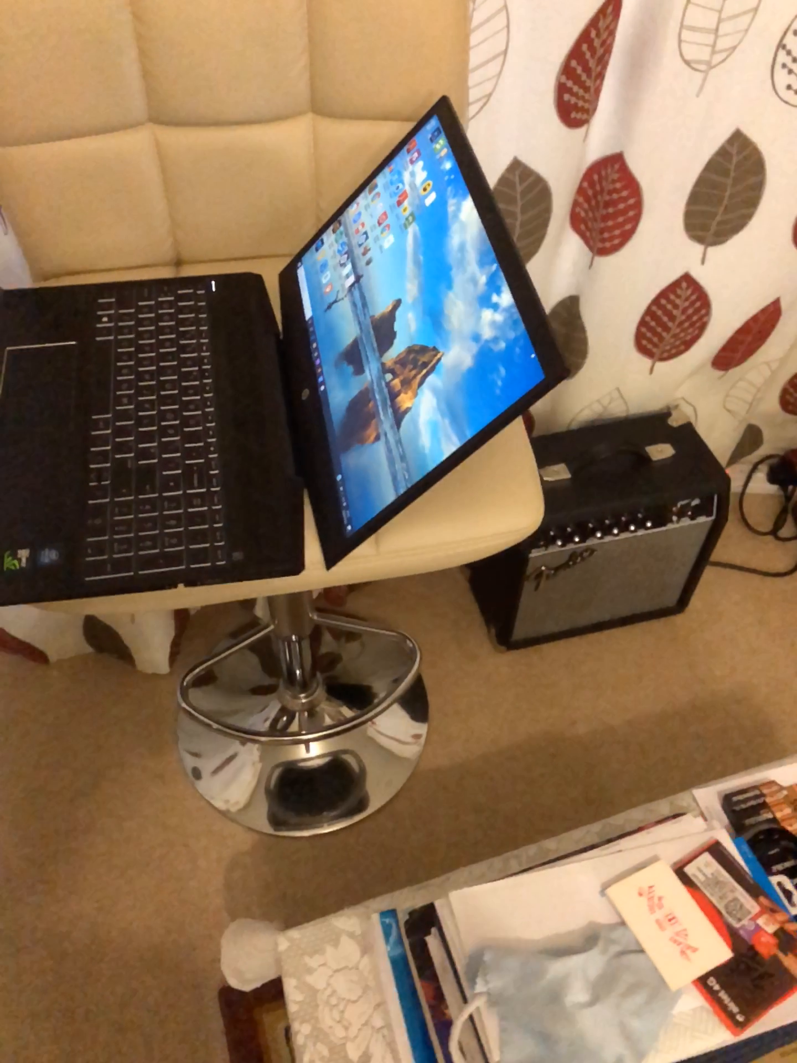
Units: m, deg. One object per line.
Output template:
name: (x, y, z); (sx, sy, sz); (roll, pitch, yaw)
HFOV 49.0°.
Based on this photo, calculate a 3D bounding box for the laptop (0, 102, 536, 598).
laptop: (-0.144, -0.161, 0.669); (0.400, 0.159, 0.349); (-6, 52, -9)
